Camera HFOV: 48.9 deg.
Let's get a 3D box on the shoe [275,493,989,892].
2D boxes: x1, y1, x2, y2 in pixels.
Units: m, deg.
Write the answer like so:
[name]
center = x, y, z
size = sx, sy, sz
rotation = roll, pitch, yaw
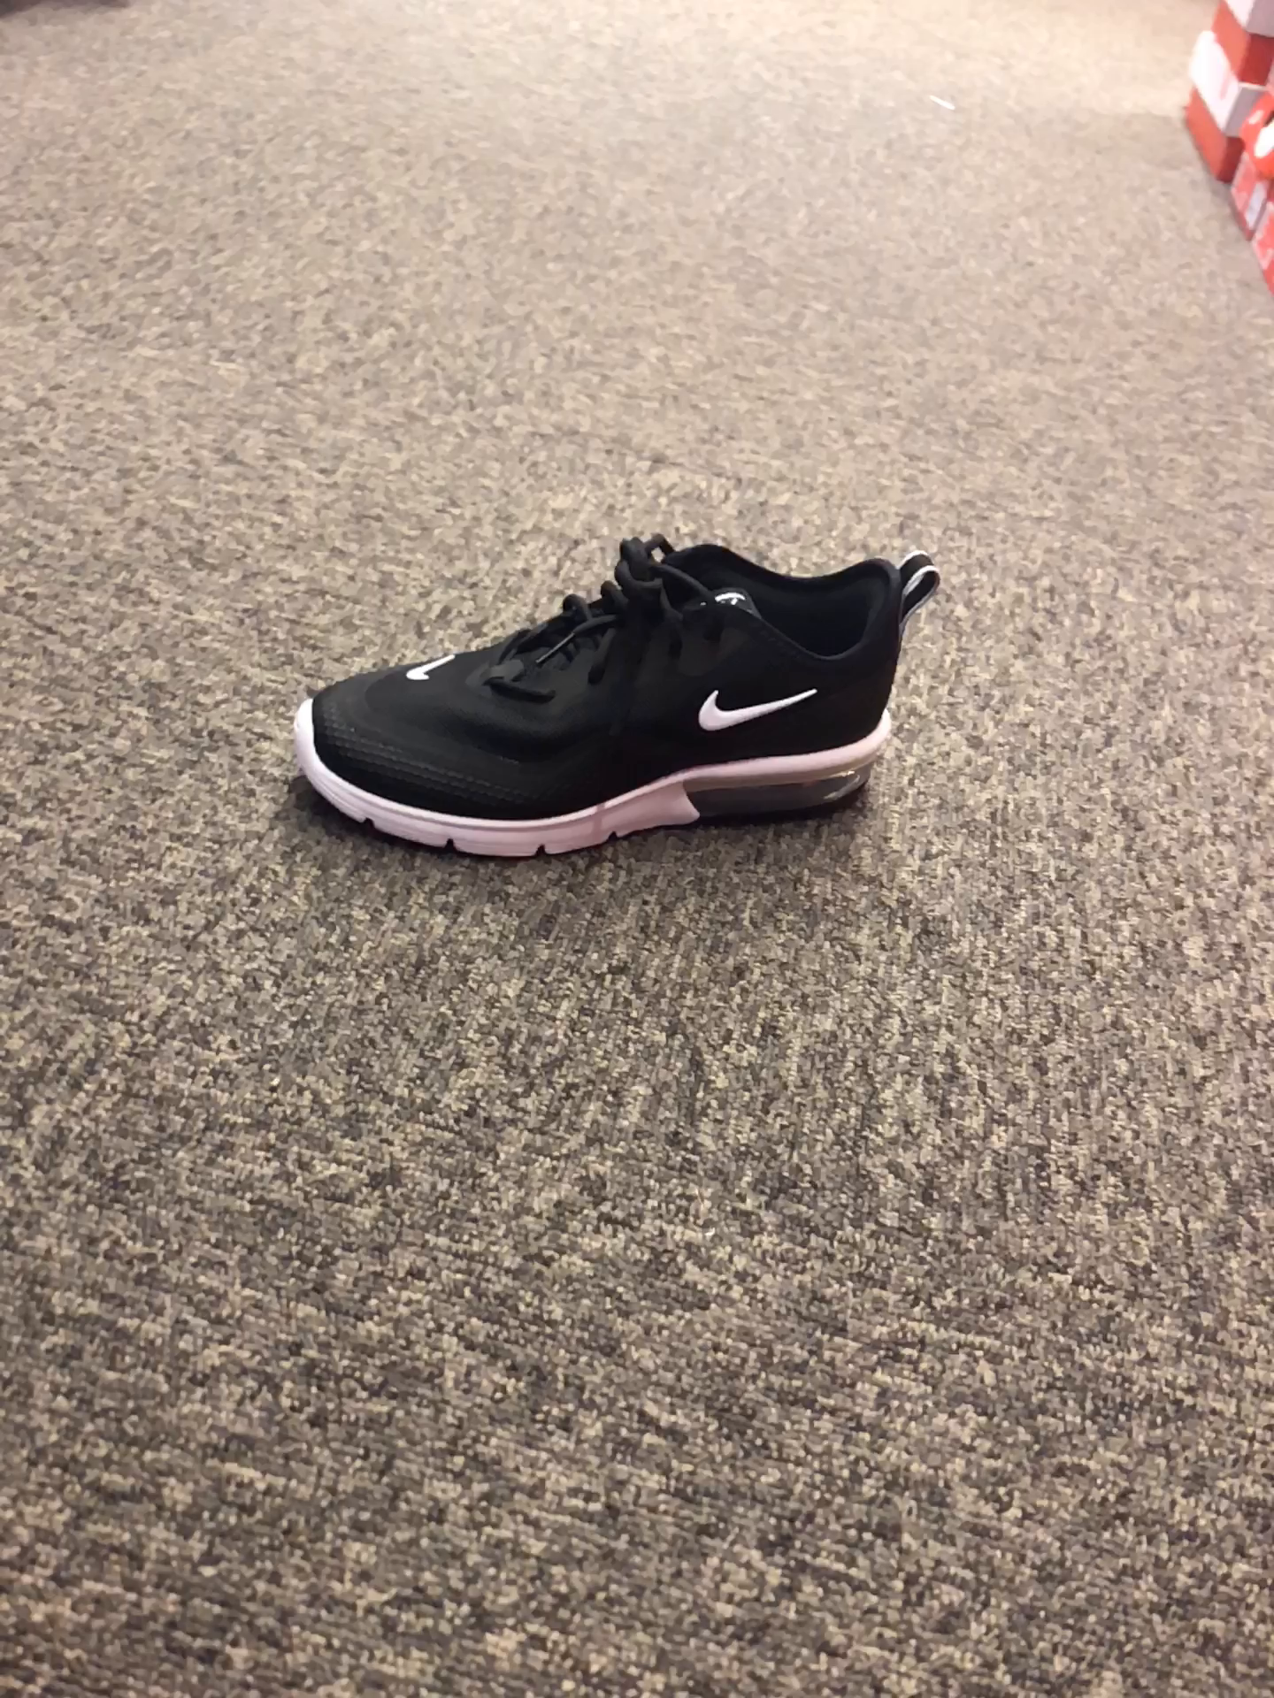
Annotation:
[shoe]
center = -0.009, -0.068, 0.567
size = 0.256, 0.109, 0.100
rotation = -5, 43, -13
